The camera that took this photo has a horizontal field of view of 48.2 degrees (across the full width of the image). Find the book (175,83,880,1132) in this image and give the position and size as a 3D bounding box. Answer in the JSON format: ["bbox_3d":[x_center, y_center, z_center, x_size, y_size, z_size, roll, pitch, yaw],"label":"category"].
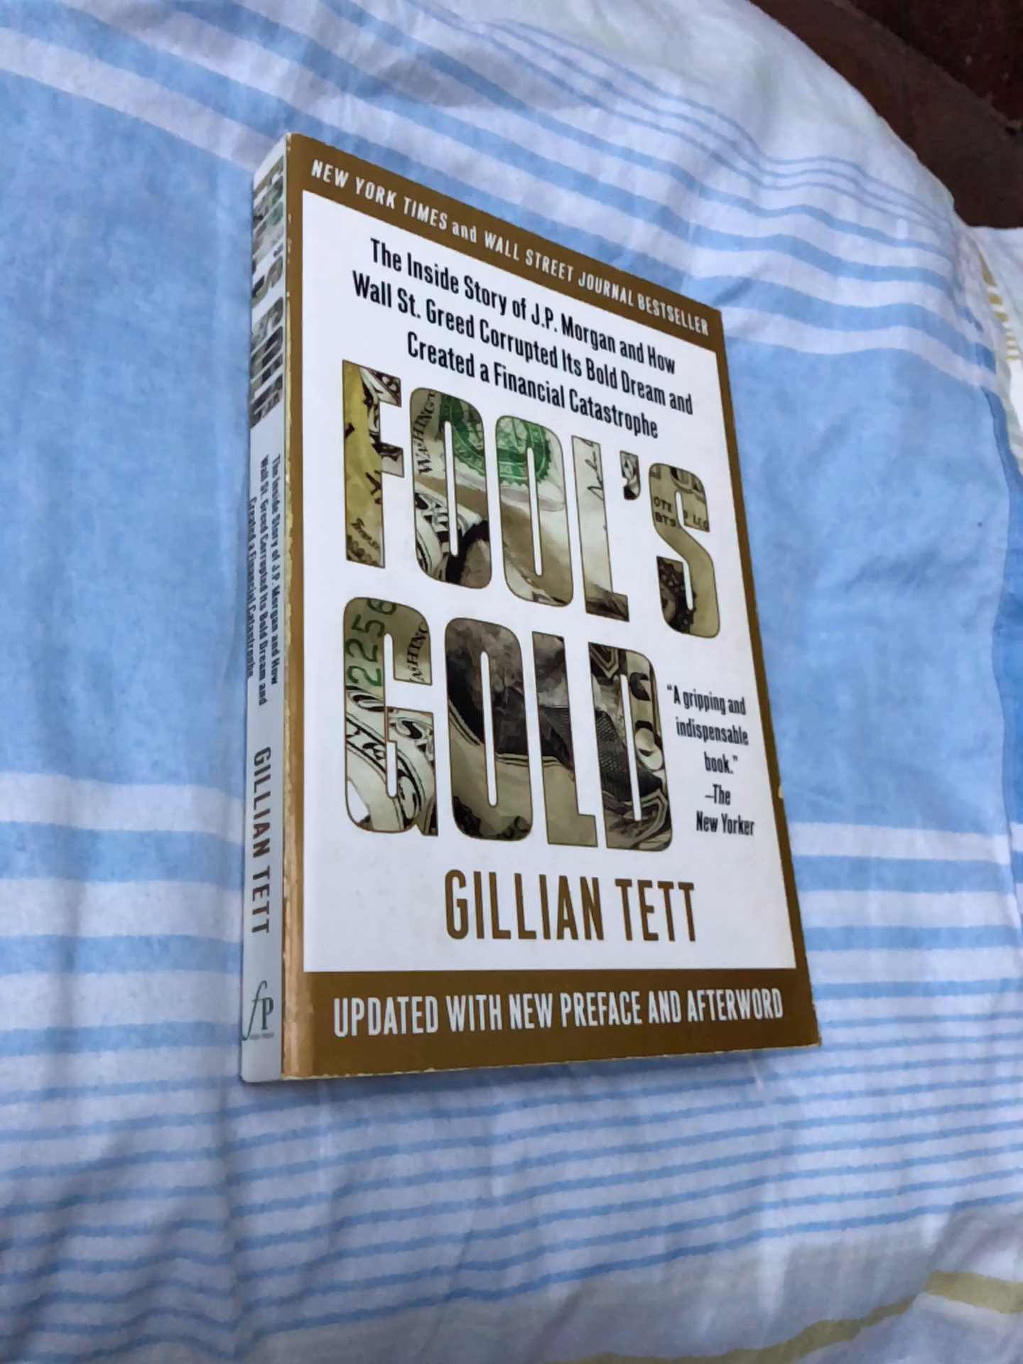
[{"bbox_3d":[0.007,-0.015,0.282,0.151,0.040,0.230,12,64,-31],"label":"book"}]
